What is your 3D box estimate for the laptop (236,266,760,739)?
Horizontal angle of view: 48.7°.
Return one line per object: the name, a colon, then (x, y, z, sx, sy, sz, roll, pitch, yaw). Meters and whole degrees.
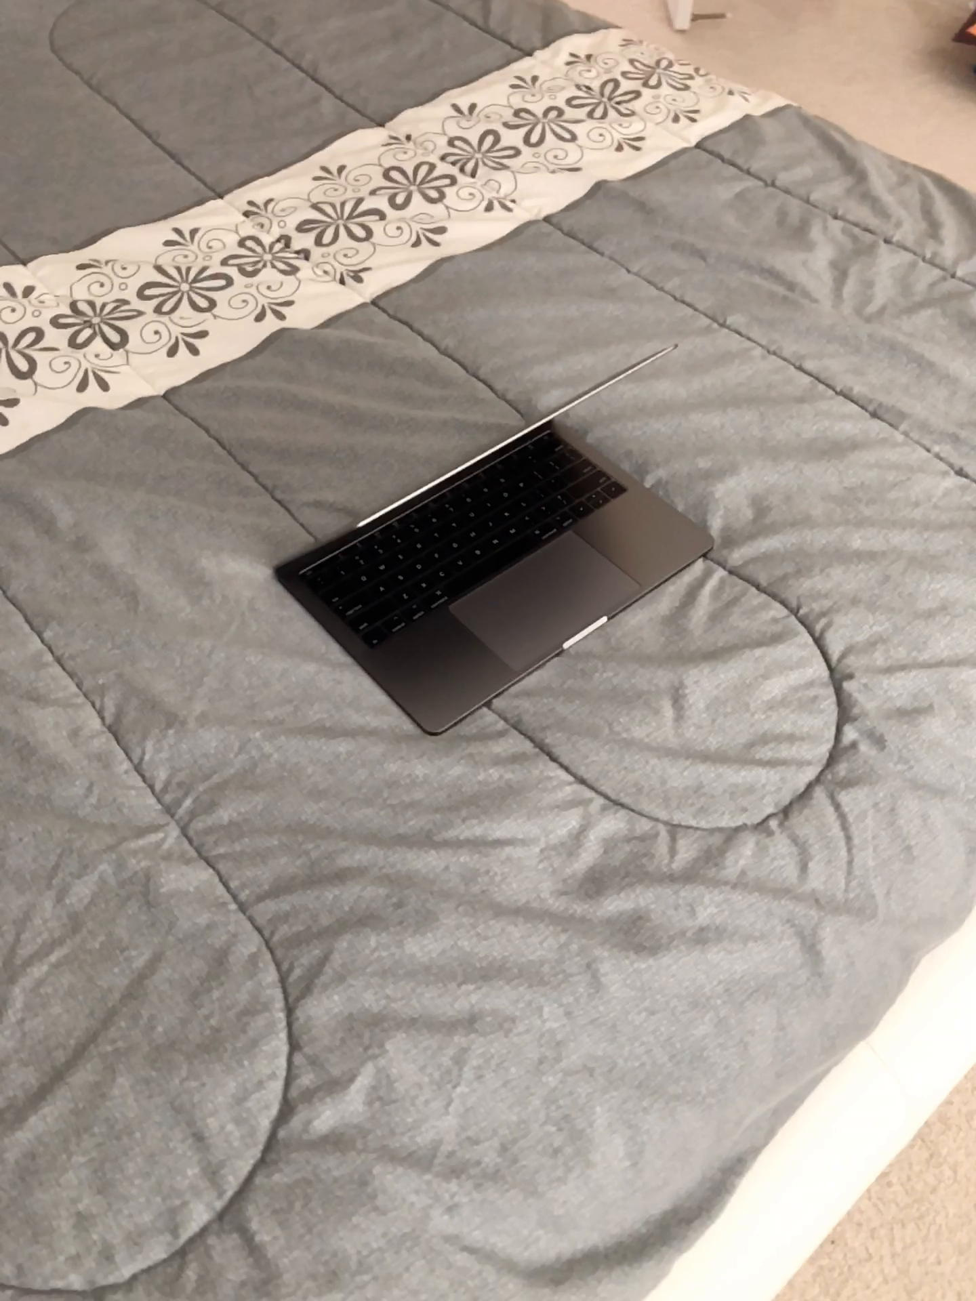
laptop: (0.008, -0.113, 0.755, 0.278, 0.140, 0.195, -34, 59, -22)
